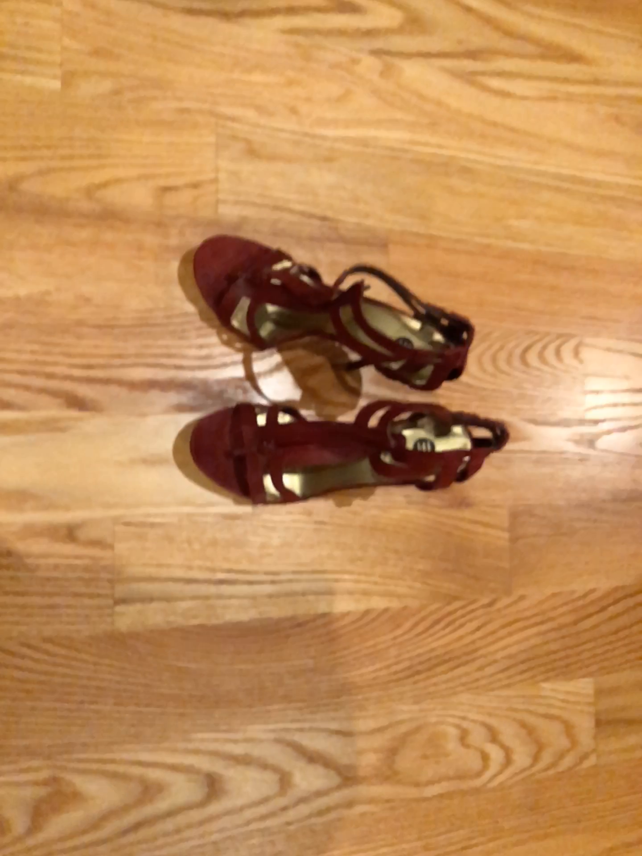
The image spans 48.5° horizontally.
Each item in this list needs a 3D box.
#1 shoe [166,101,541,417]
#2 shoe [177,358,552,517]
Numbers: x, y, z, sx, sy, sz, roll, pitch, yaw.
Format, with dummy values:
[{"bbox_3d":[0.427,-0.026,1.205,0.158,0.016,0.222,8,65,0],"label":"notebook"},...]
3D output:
[{"bbox_3d":[0.012,-0.099,0.511,0.199,0.176,0.085,28,77,-17],"label":"shoe"},{"bbox_3d":[0.018,0.011,0.501,0.207,0.176,0.085,0,86,-21],"label":"shoe"}]
